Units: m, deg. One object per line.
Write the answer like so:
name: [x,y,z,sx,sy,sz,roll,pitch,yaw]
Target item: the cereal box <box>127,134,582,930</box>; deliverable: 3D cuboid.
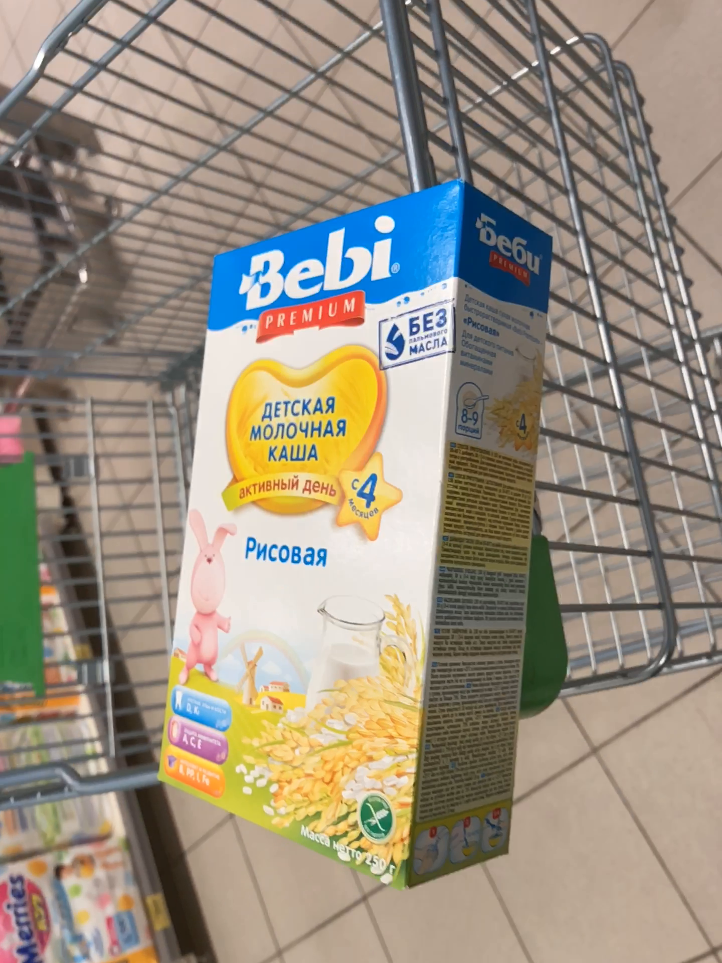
cereal box: [-0.010,0.012,0.283,0.151,0.050,0.210,0,82,47]
